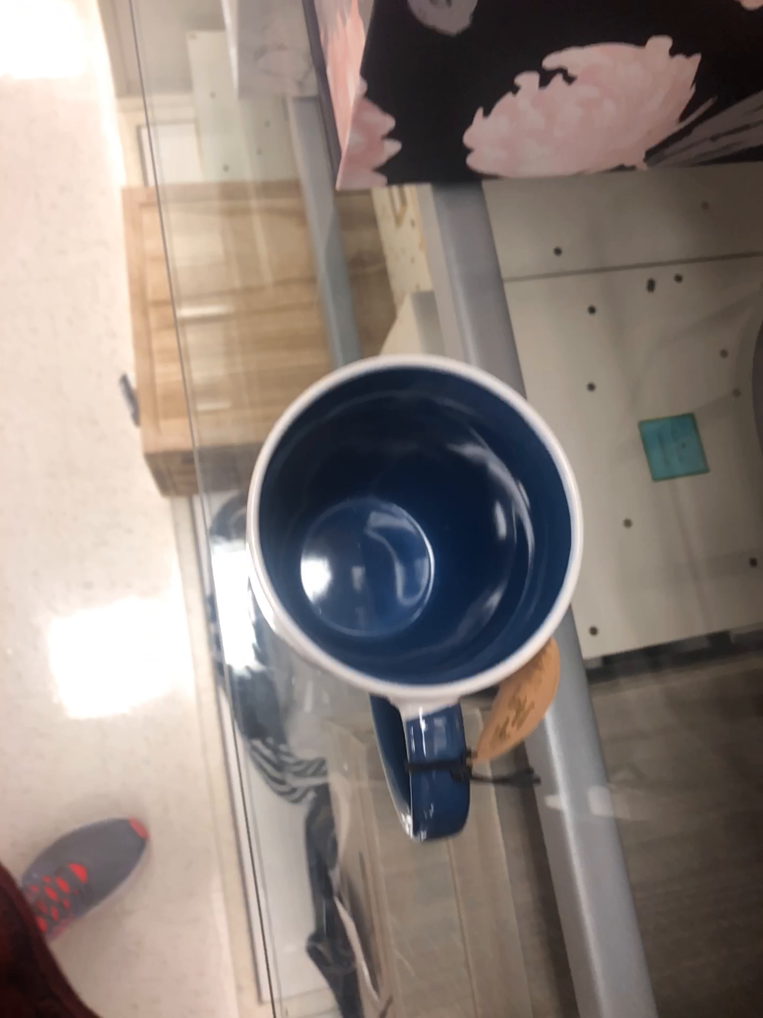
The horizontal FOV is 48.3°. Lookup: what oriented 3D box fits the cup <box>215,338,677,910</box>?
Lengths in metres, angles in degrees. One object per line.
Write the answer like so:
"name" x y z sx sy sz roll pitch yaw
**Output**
"cup" 0.010 0.034 0.289 0.116 0.096 0.150 -5 79 -10
